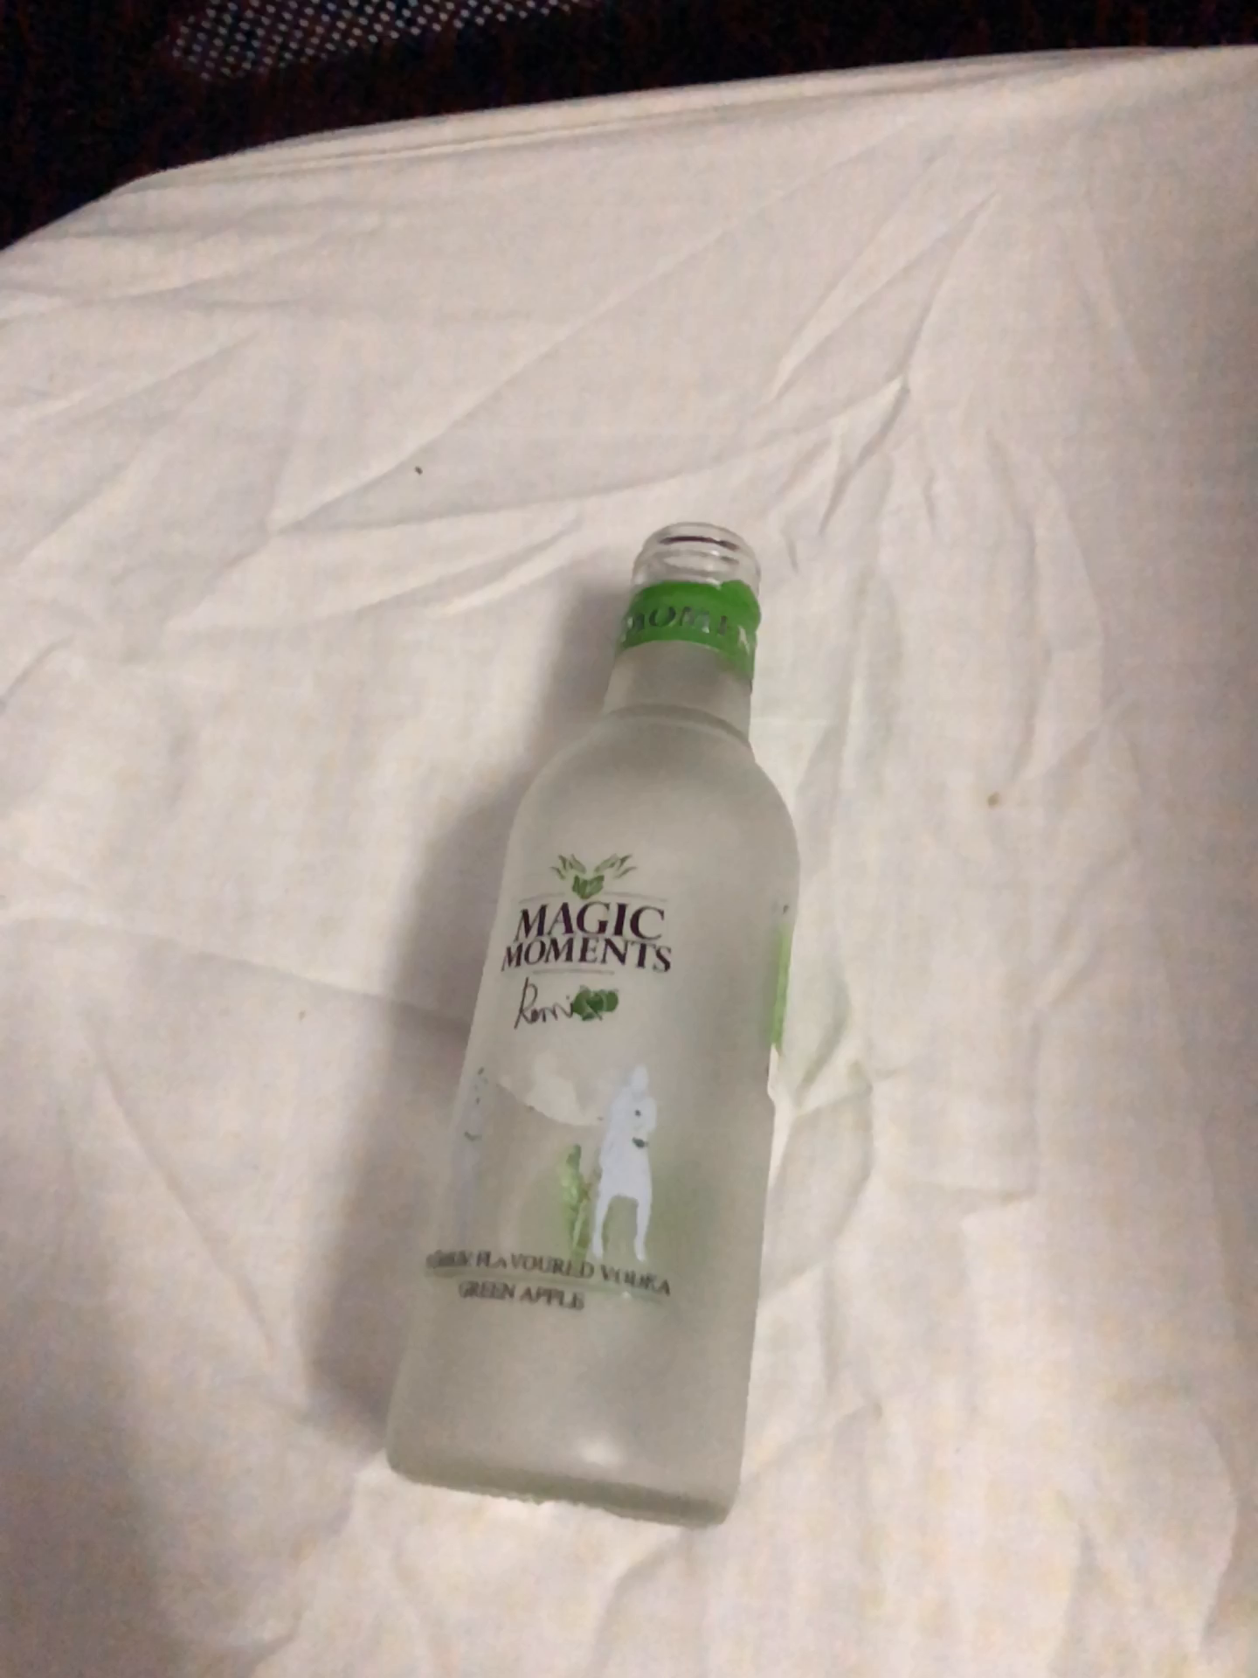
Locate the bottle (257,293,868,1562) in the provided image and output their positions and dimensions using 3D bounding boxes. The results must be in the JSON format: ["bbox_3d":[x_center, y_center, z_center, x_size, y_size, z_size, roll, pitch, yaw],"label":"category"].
[{"bbox_3d":[0.001,0.007,0.221,0.060,0.060,0.180,3,68,12],"label":"bottle"}]
